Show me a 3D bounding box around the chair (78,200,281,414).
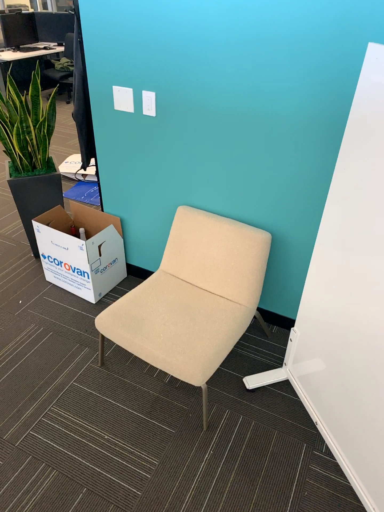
[{"bbox_3d":[-0.033,0.196,1.990,0.661,0.567,0.733,20,39,24],"label":"chair"}]
